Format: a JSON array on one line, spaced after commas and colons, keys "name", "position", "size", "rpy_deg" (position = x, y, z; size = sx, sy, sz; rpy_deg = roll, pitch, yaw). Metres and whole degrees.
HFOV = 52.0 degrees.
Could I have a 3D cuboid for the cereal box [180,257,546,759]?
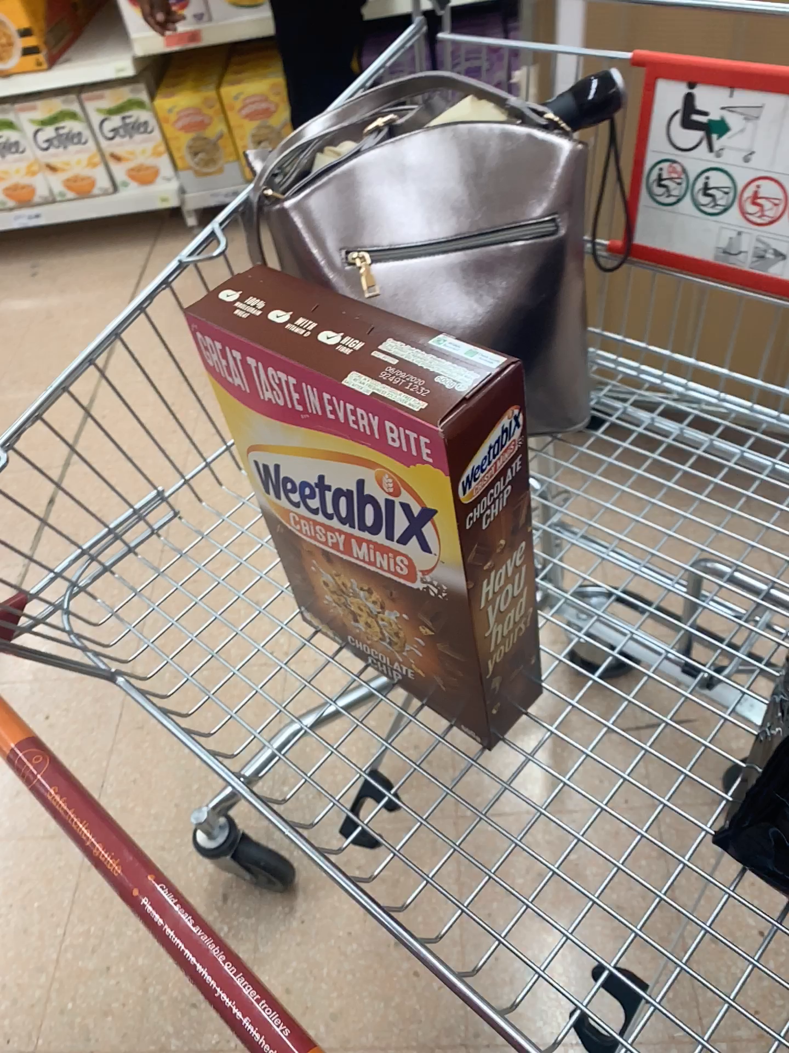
[{"name": "cereal box", "position": [-0.005, 0.000, 0.494], "size": [0.191, 0.277, 0.060], "rpy_deg": [29, 58, 32]}]
